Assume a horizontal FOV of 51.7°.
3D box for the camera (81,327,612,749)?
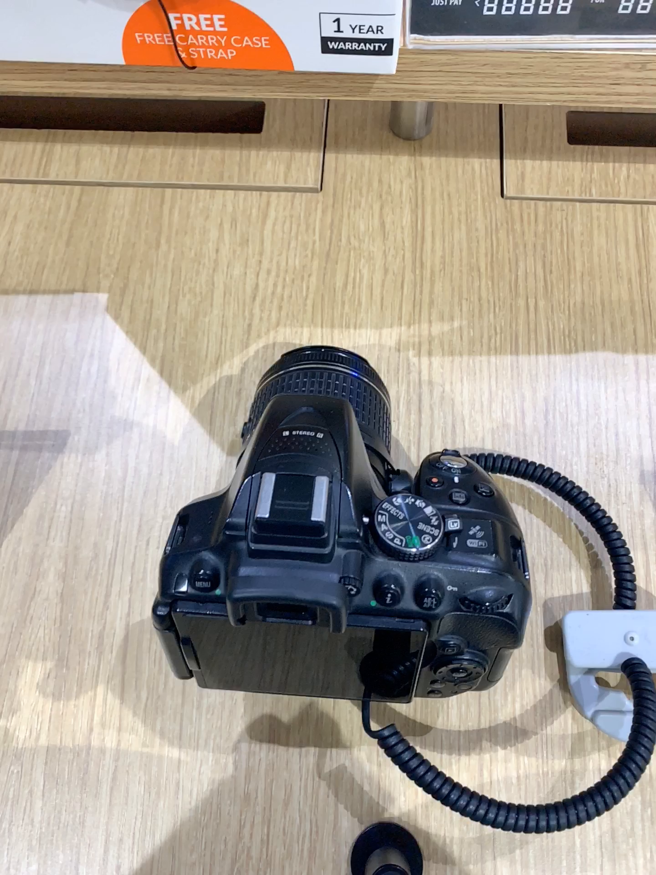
[{"bbox_3d":[0.007,0.031,0.232,0.130,0.080,0.110,3,49,3],"label":"camera"}]
